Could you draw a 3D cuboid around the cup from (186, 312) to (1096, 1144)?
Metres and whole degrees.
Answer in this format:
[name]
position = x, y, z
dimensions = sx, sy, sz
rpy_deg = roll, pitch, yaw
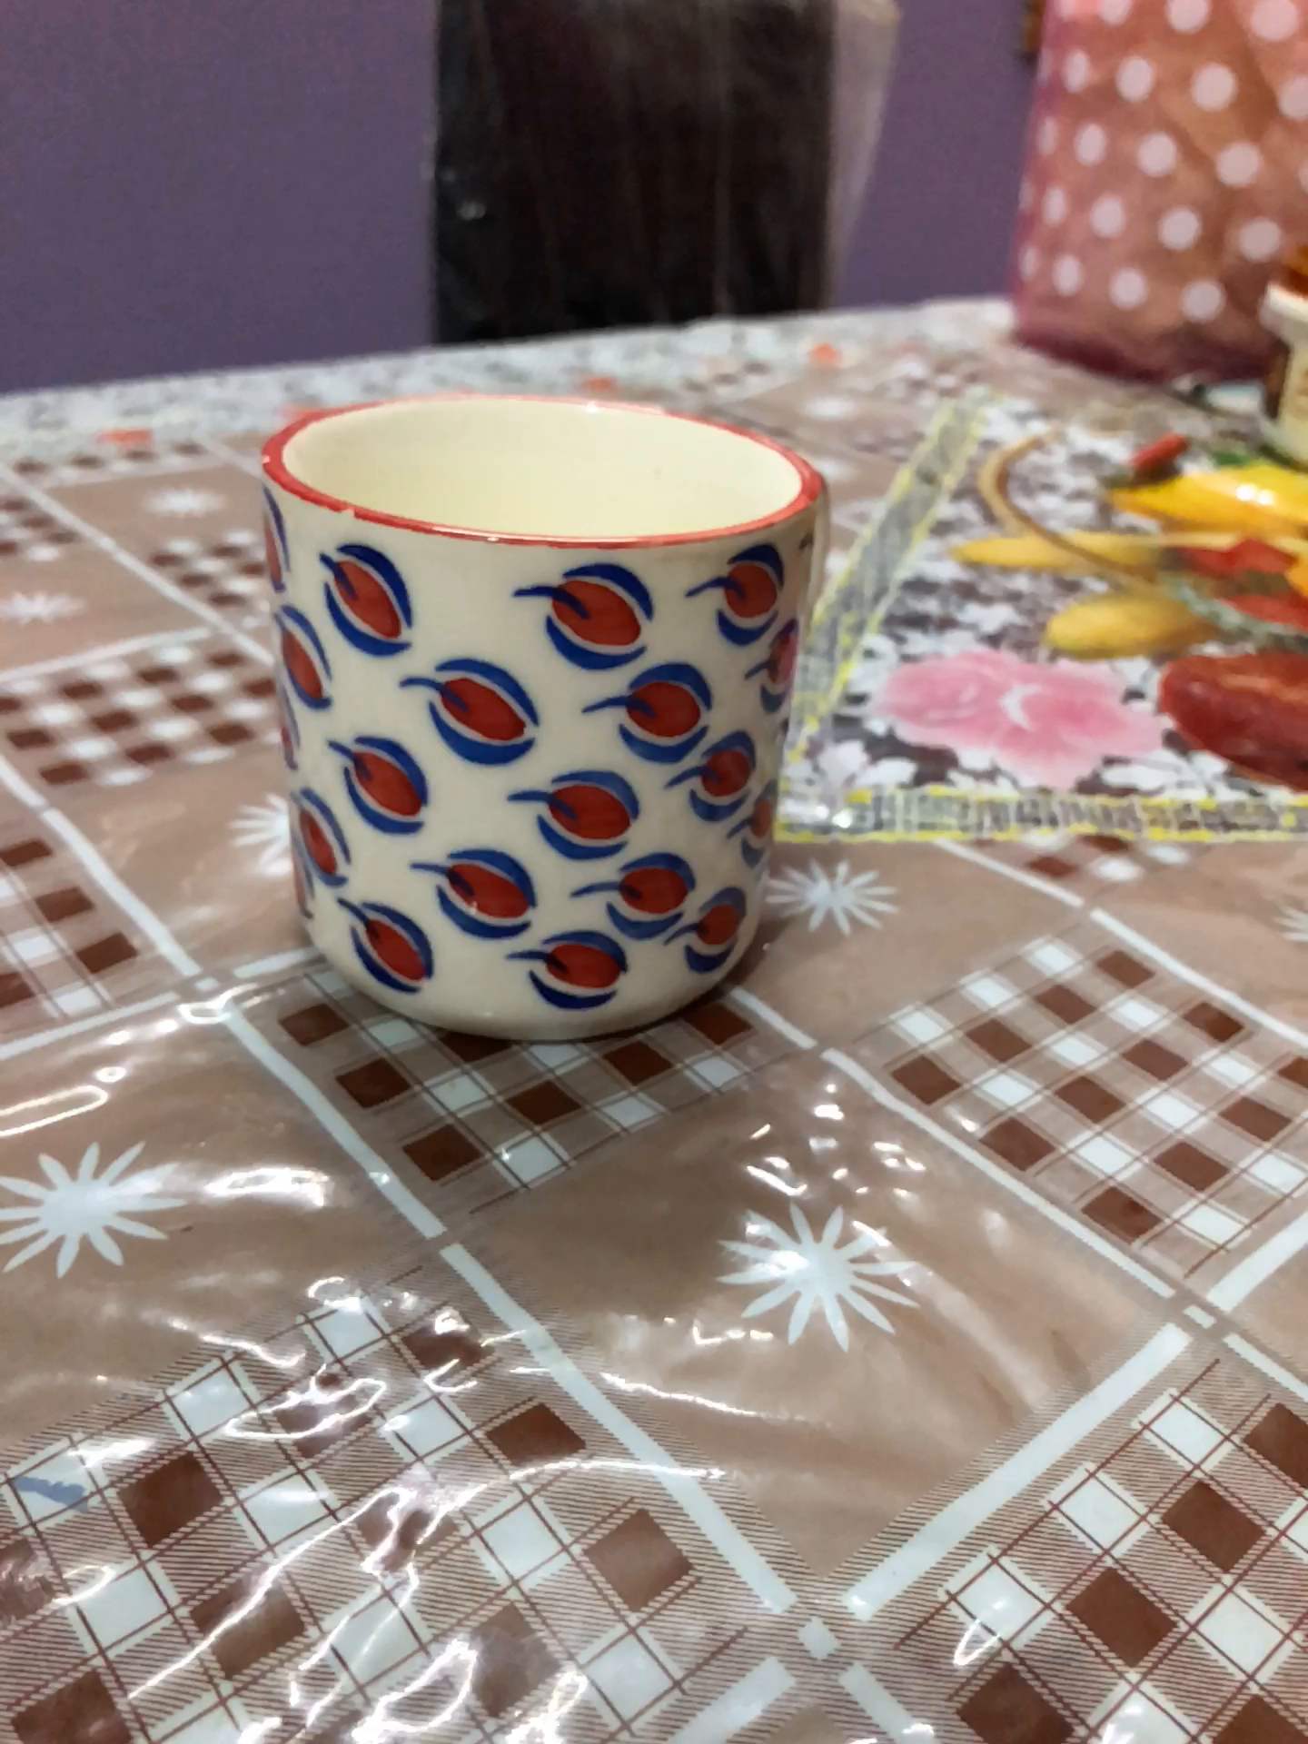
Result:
[cup]
position = 0.001, -0.034, 0.230
dimensions = 0.080, 0.079, 0.111
rpy_deg = 24, 35, 29
